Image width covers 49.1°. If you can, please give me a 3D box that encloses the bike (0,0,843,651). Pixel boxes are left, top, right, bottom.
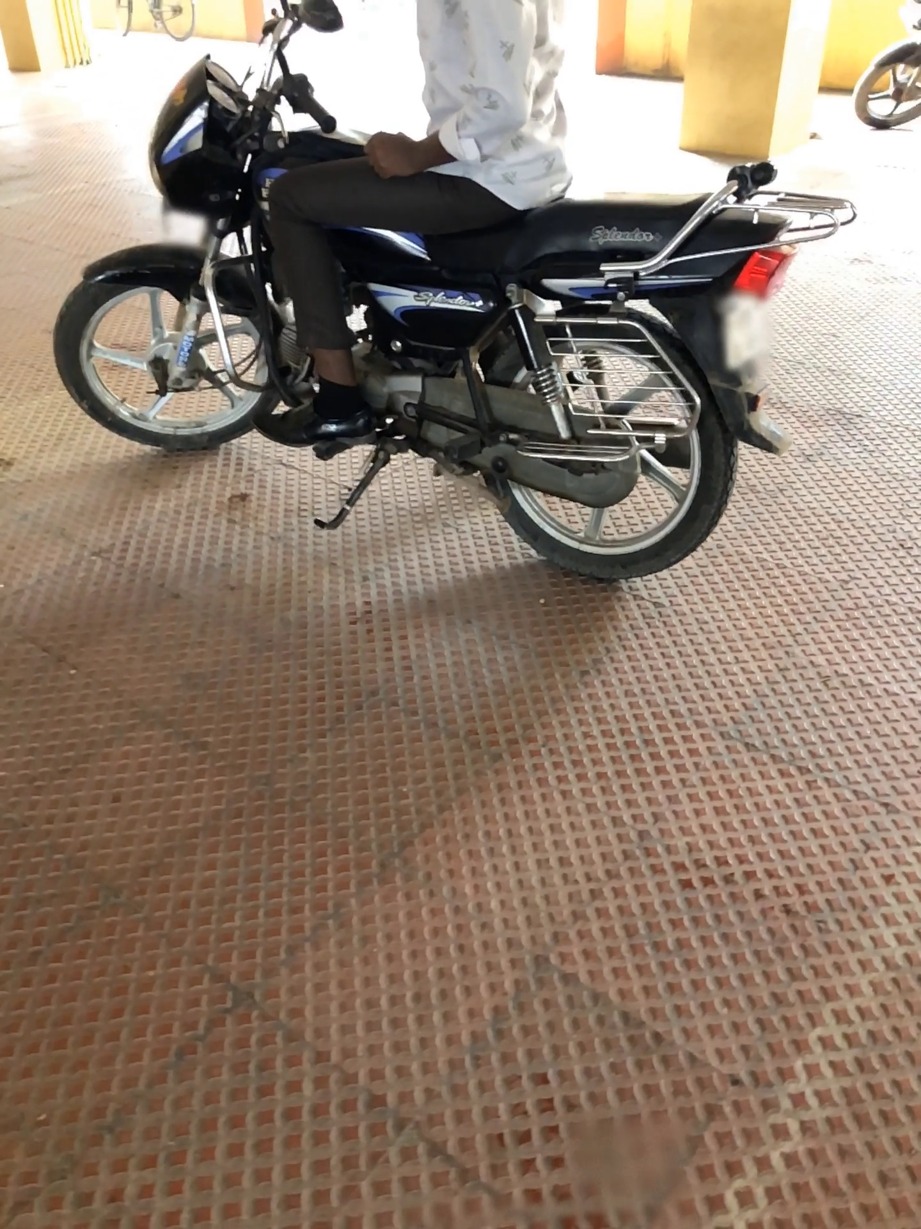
[{"bbox_3d":[-0.165,-0.784,2.287,1.706,1.107,0.688,15,38,19],"label":"bike"}]
